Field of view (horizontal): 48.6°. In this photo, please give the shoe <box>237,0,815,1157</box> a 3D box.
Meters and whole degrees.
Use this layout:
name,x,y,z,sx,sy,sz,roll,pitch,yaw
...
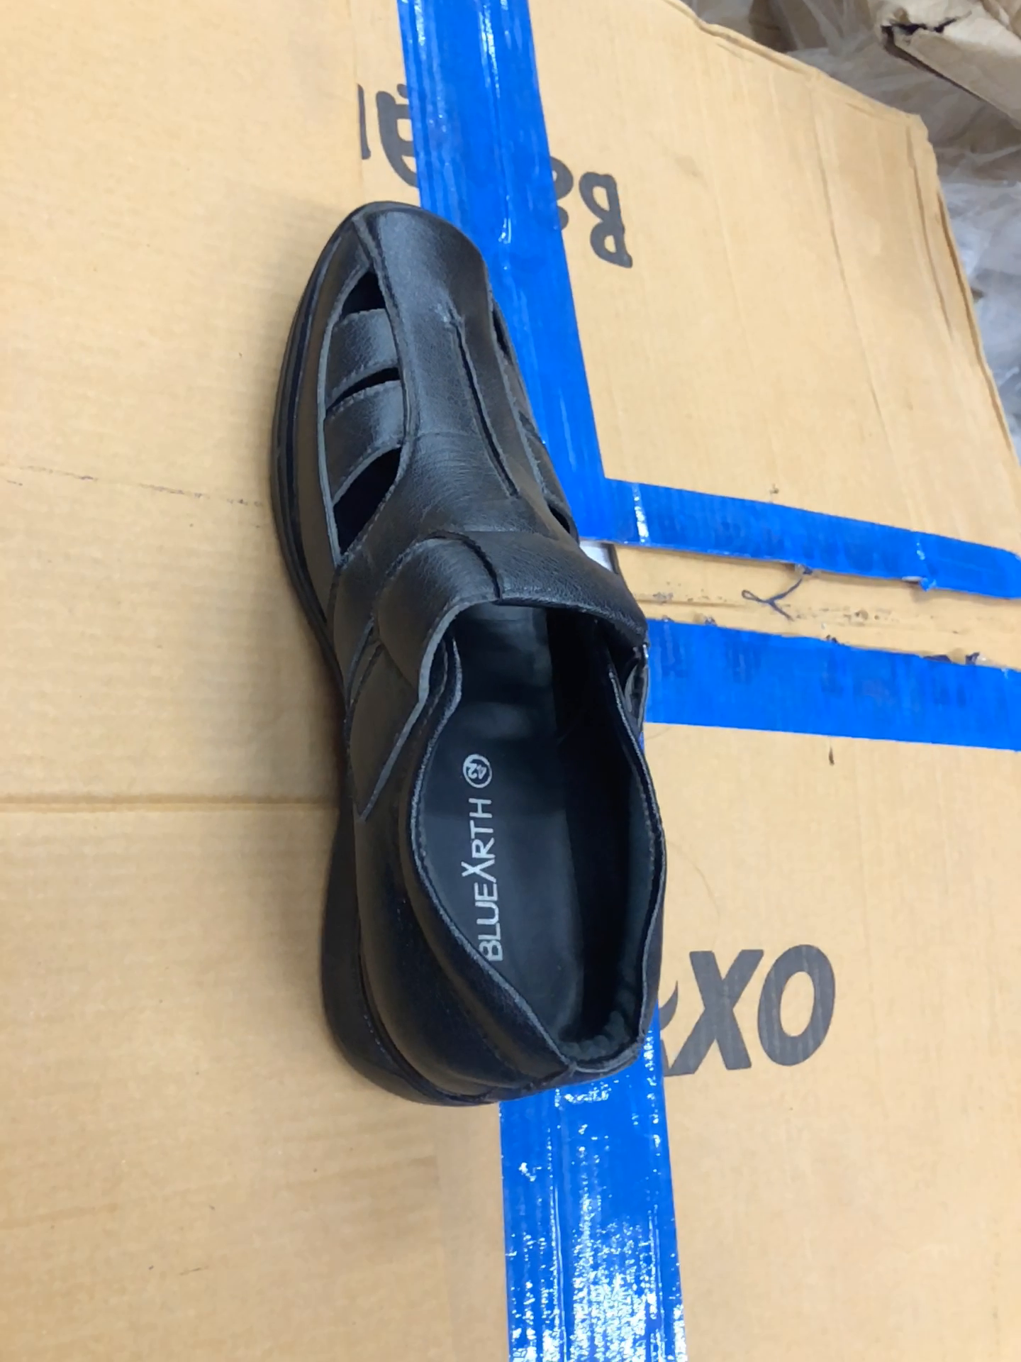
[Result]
name,x,y,z,sx,sy,sz,roll,pitch,yaw
shoe,-0.008,-0.032,0.336,0.101,0.099,0.300,3,73,-32
